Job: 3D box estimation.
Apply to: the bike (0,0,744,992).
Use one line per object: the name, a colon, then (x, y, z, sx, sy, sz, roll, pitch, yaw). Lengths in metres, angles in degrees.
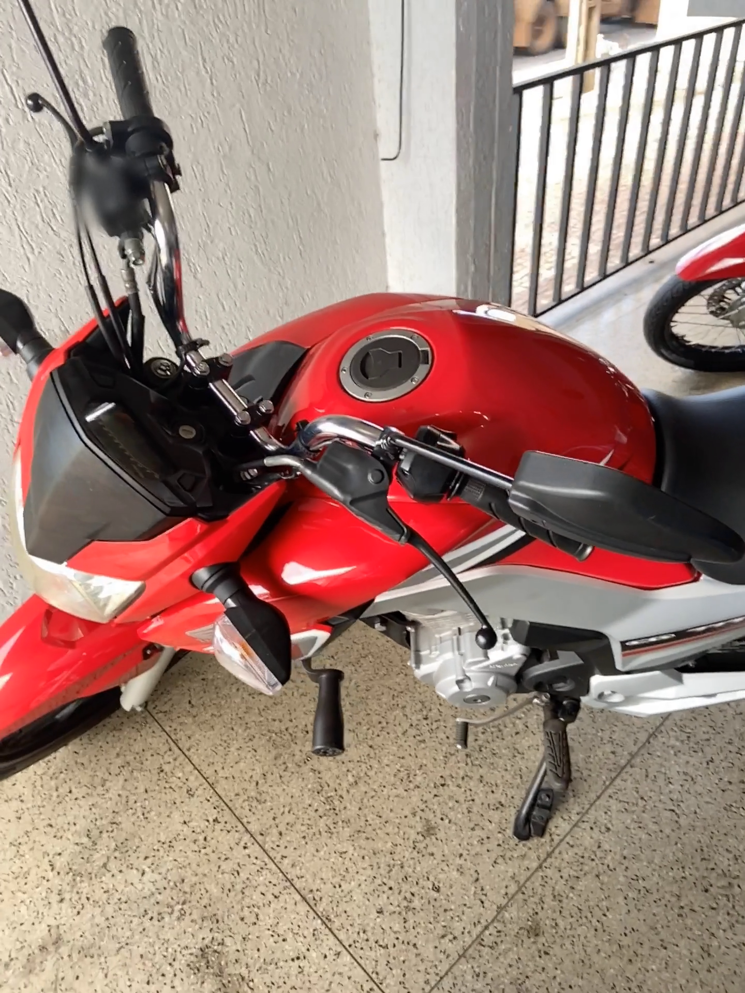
bike: (0.229, 0.211, 1.070, 1.990, 1.421, 0.873, -9, 37, -1)
